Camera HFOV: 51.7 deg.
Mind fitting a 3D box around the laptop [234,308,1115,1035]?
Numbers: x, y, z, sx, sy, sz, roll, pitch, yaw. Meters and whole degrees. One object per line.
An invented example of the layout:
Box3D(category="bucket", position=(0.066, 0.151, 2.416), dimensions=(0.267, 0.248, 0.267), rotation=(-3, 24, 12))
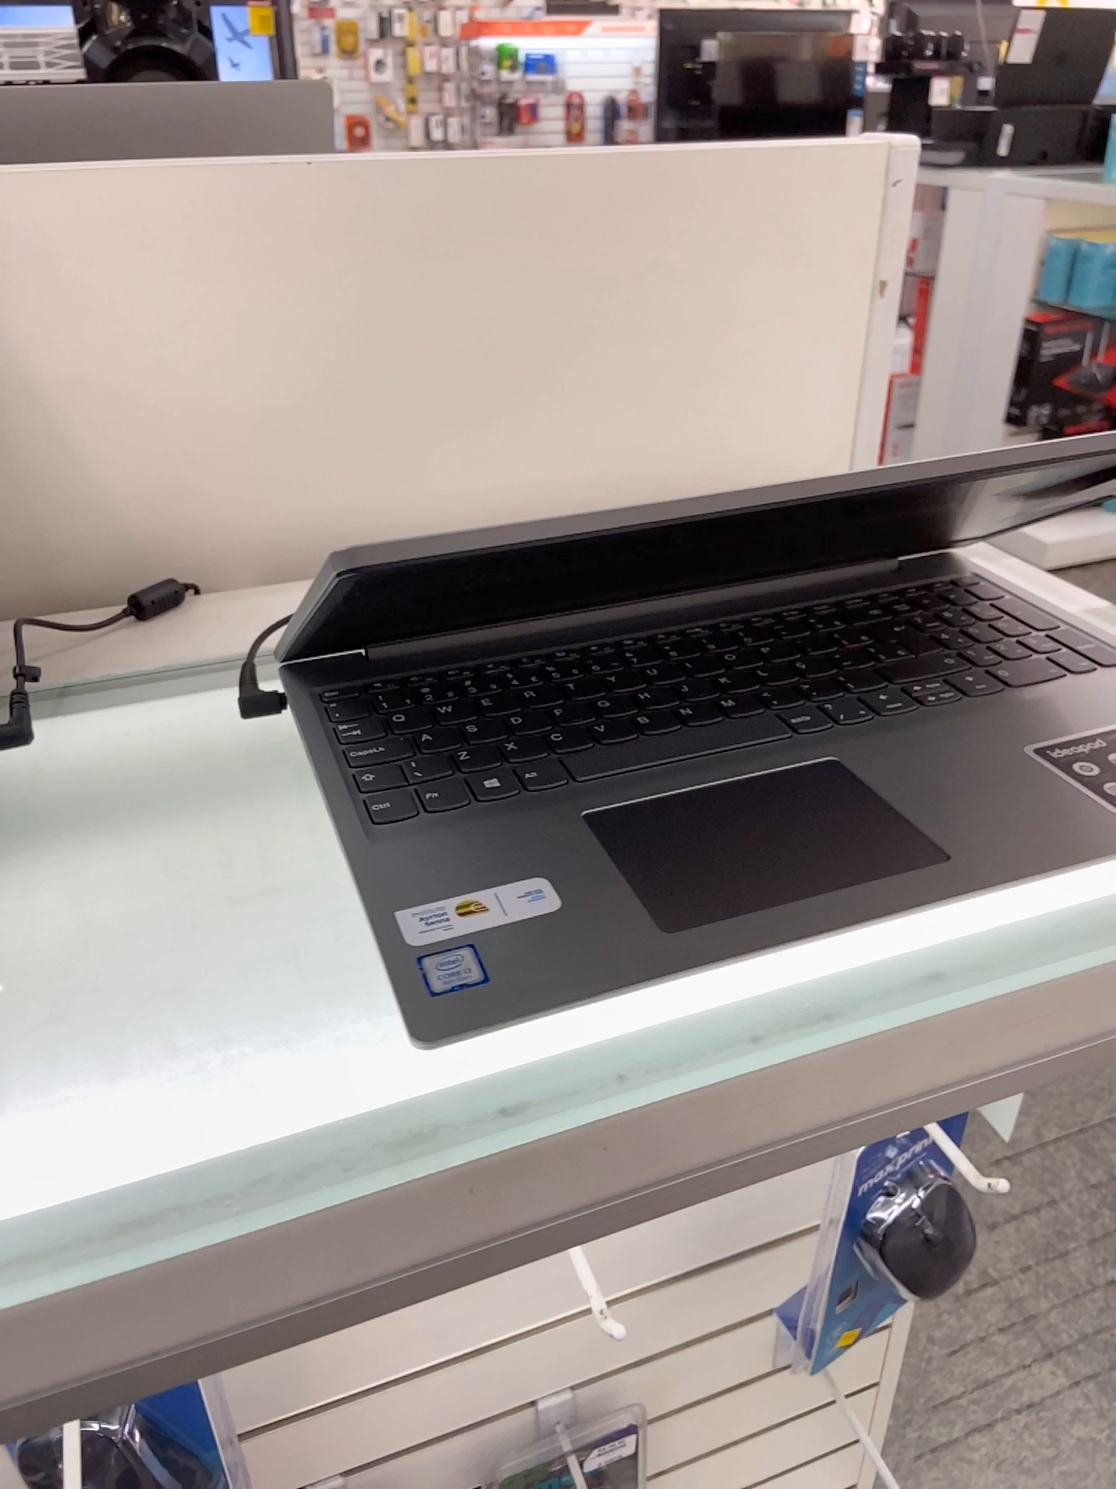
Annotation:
Box3D(category="laptop", position=(0.084, -0.065, 0.429), dimensions=(0.354, 0.122, 0.240), rotation=(-12, 31, -17))
